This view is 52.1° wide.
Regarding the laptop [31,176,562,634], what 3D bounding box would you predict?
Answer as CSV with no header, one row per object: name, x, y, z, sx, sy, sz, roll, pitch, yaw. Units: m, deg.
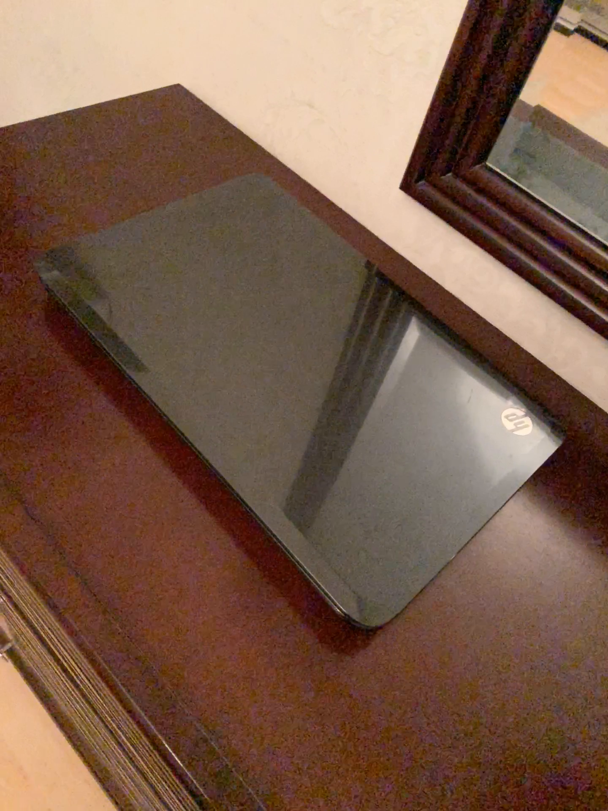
laptop,-0.001,-0.038,0.463,0.224,0.007,0.341,-35,71,-32
